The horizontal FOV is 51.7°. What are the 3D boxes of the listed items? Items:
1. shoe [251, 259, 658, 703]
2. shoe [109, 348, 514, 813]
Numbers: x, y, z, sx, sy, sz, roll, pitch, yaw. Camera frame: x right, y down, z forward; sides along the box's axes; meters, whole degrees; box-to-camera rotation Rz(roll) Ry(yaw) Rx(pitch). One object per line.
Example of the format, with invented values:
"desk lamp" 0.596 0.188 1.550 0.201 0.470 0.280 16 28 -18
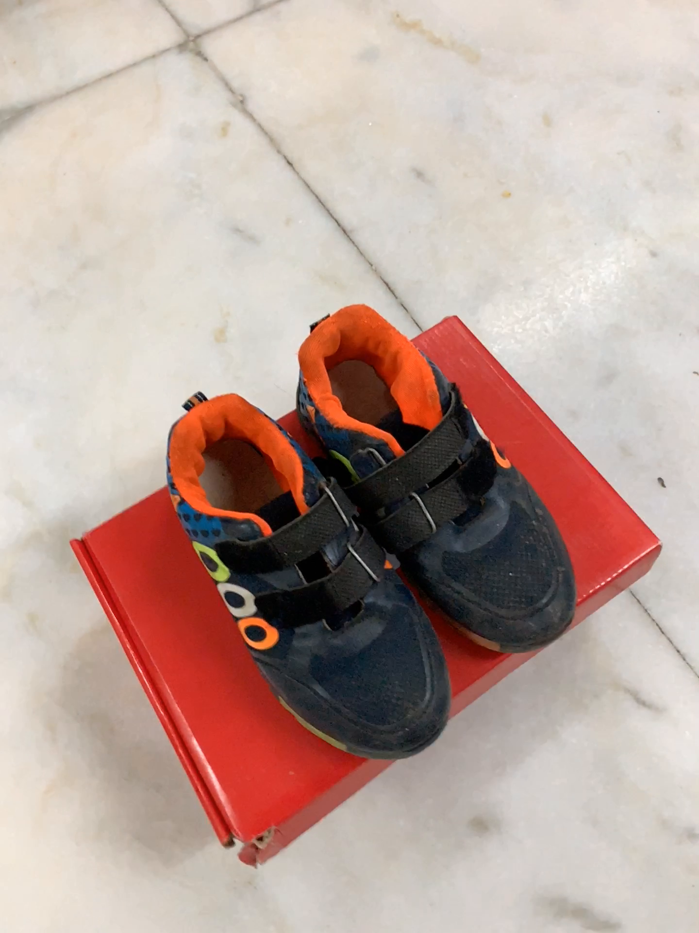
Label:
"shoe" 0.043 0.005 0.378 0.080 0.080 0.211 -32 69 -12
"shoe" -0.024 0.057 0.381 0.090 0.090 0.211 -33 69 -12
